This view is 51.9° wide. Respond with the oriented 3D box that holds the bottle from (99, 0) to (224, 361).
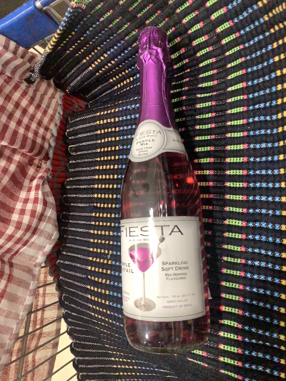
[{"bbox_3d":[0.017,-0.031,0.294,0.080,0.080,0.330,-9,76,37],"label":"bottle"}]
